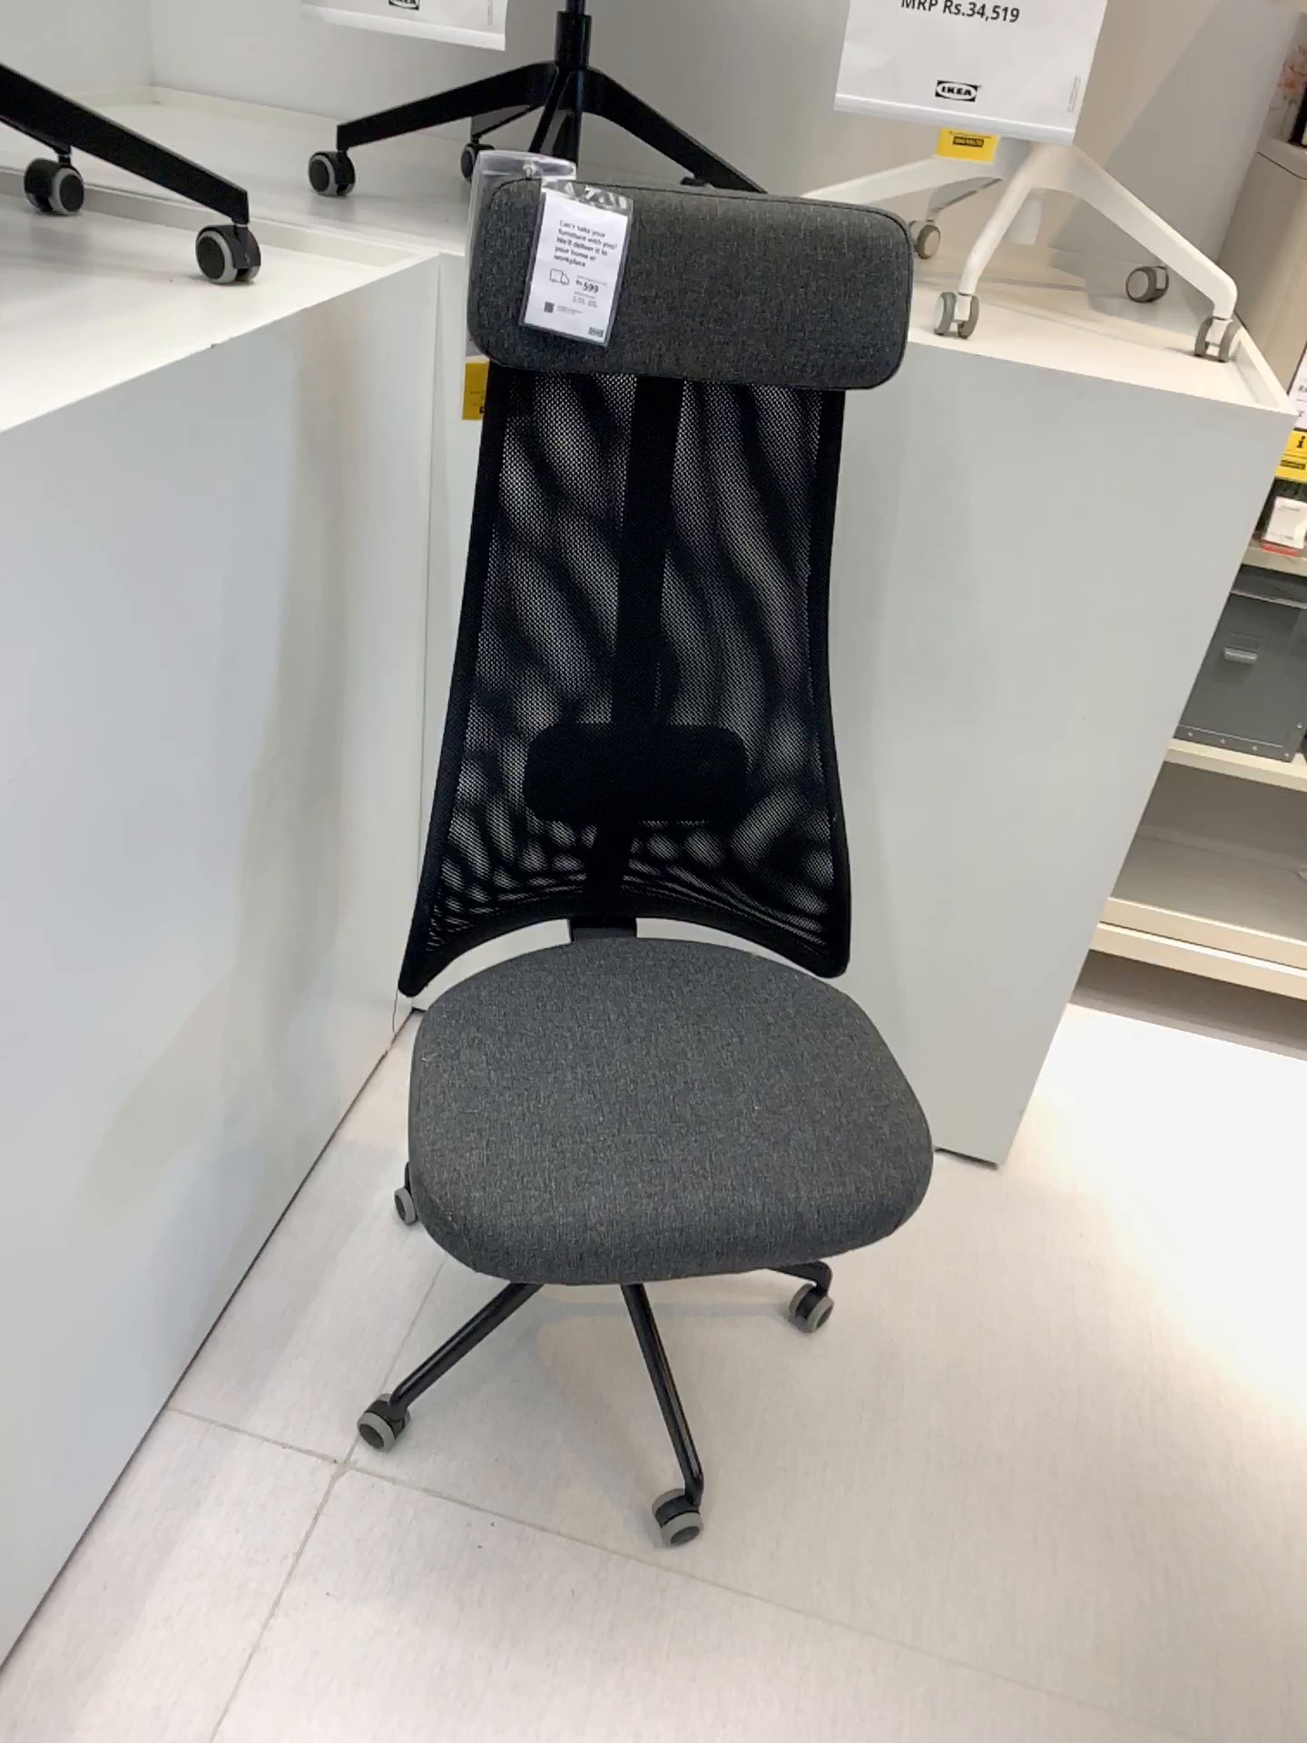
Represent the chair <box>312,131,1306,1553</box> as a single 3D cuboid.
[{"bbox_3d":[0.028,0.025,1.385,0.660,1.264,0.673,3,34,-9],"label":"chair"}]
